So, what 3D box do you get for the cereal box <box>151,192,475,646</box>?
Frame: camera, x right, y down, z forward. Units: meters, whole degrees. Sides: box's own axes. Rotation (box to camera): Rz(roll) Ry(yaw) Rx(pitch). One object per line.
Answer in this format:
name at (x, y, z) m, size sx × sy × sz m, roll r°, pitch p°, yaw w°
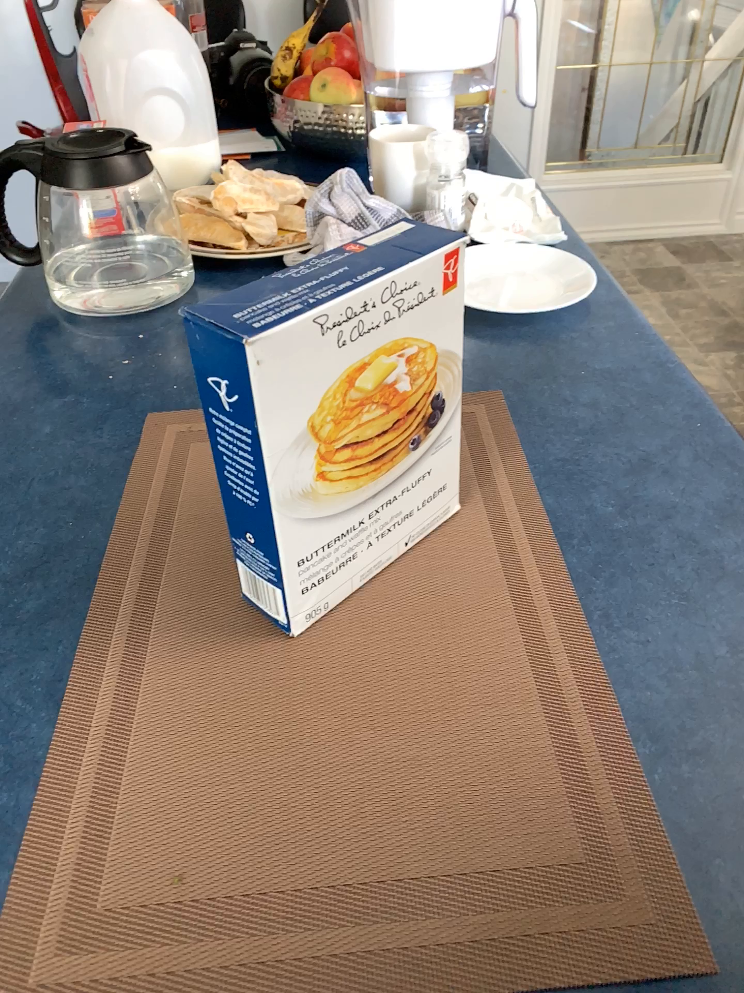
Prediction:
cereal box at (-0.020, -0.044, 0.443) m, size 0.171 × 0.208 × 0.050 m, roll -33°, pitch 48°, yaw -33°
